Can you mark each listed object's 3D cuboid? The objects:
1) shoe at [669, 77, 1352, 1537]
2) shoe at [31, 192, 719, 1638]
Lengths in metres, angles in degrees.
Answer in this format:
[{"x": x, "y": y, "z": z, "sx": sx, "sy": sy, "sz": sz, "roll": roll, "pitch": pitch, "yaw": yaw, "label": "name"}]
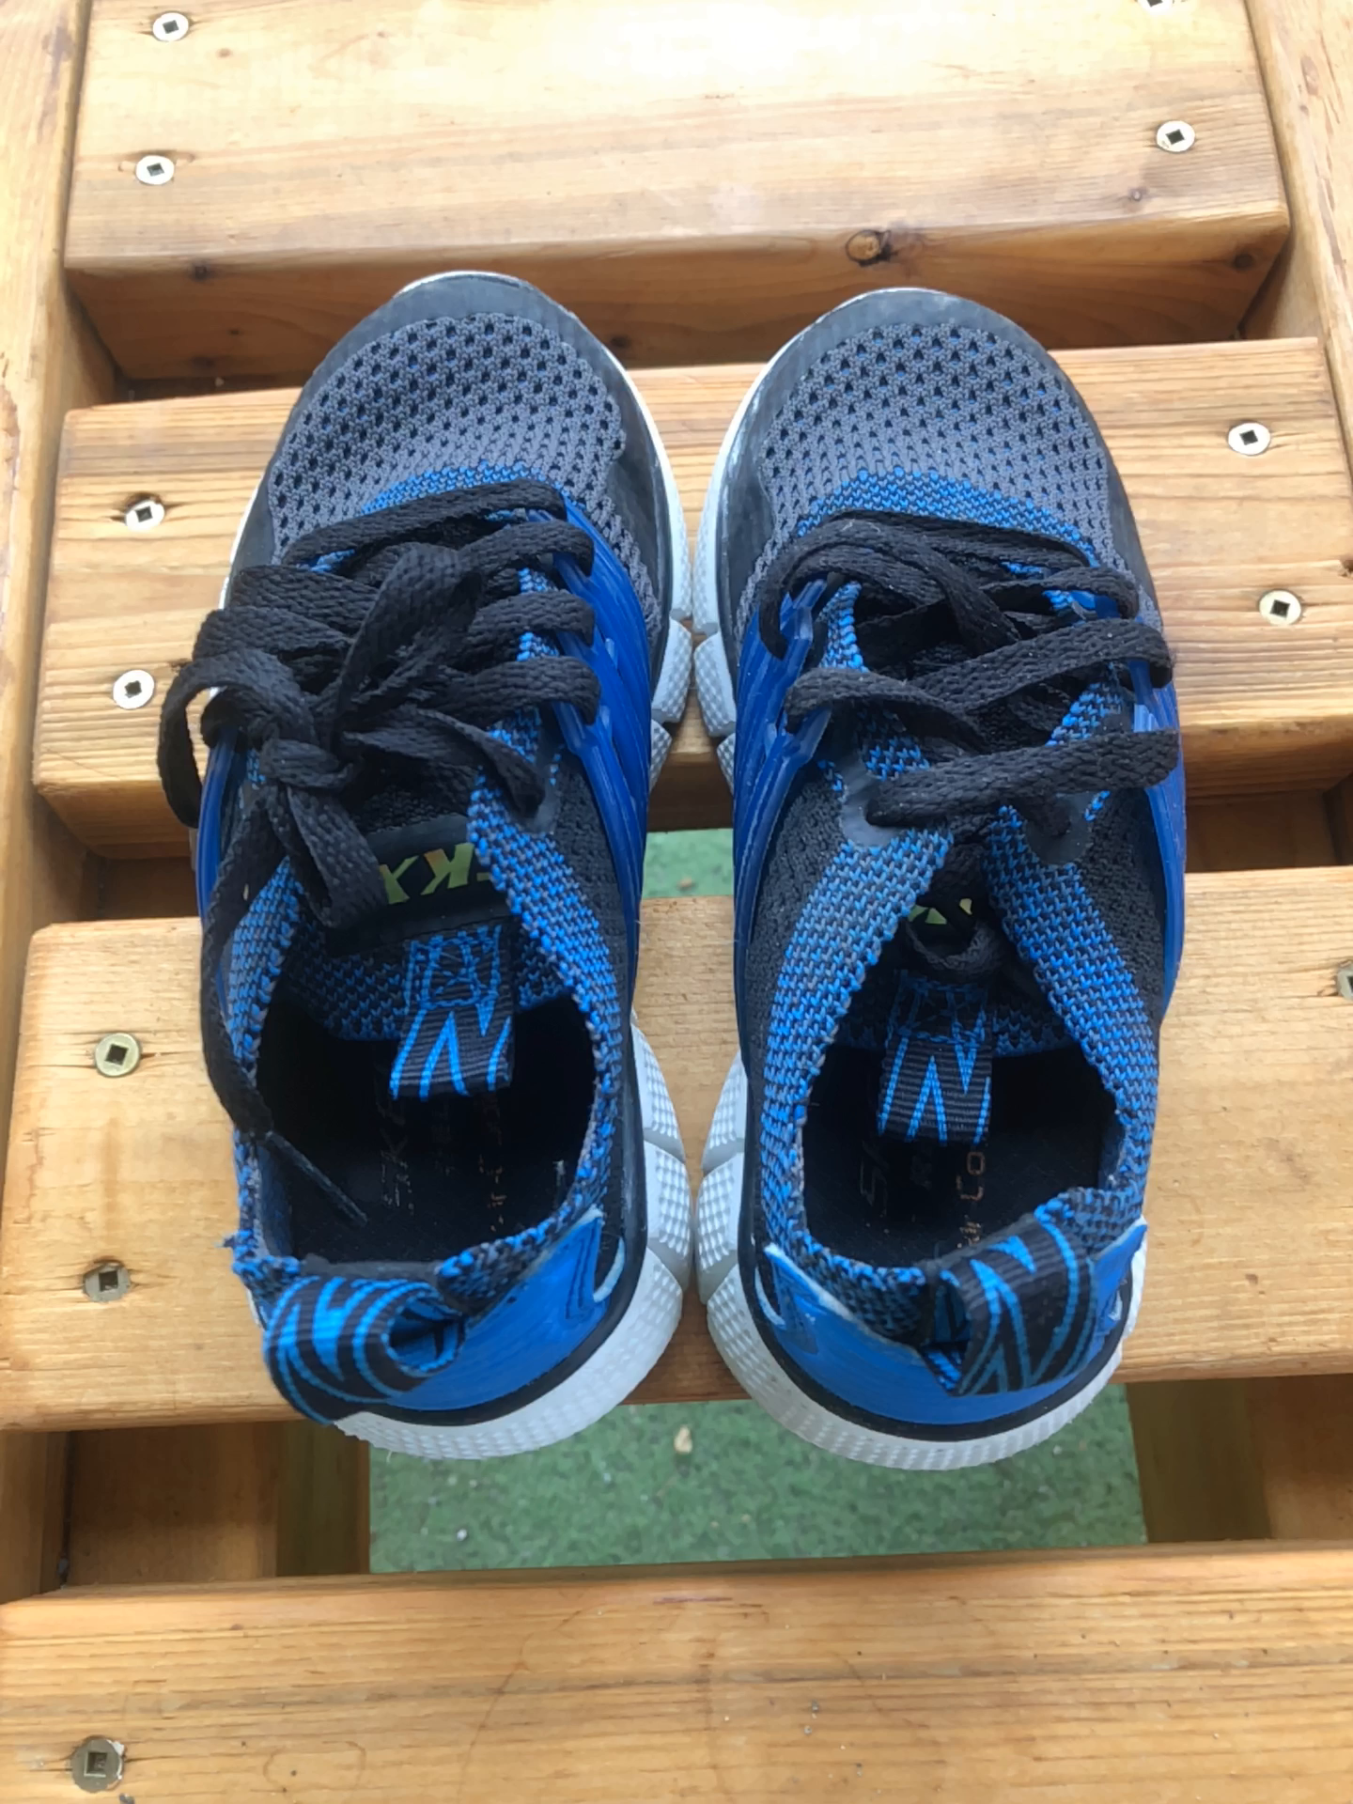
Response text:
[{"x": 0.041, "y": -0.011, "z": 0.232, "sx": 0.080, "sy": 0.100, "sz": 0.190, "roll": 1, "pitch": 73, "yaw": 1, "label": "shoe"}, {"x": -0.040, "y": 0.002, "z": 0.252, "sx": 0.080, "sy": 0.100, "sz": 0.200, "roll": -3, "pitch": 73, "yaw": 0, "label": "shoe"}]
